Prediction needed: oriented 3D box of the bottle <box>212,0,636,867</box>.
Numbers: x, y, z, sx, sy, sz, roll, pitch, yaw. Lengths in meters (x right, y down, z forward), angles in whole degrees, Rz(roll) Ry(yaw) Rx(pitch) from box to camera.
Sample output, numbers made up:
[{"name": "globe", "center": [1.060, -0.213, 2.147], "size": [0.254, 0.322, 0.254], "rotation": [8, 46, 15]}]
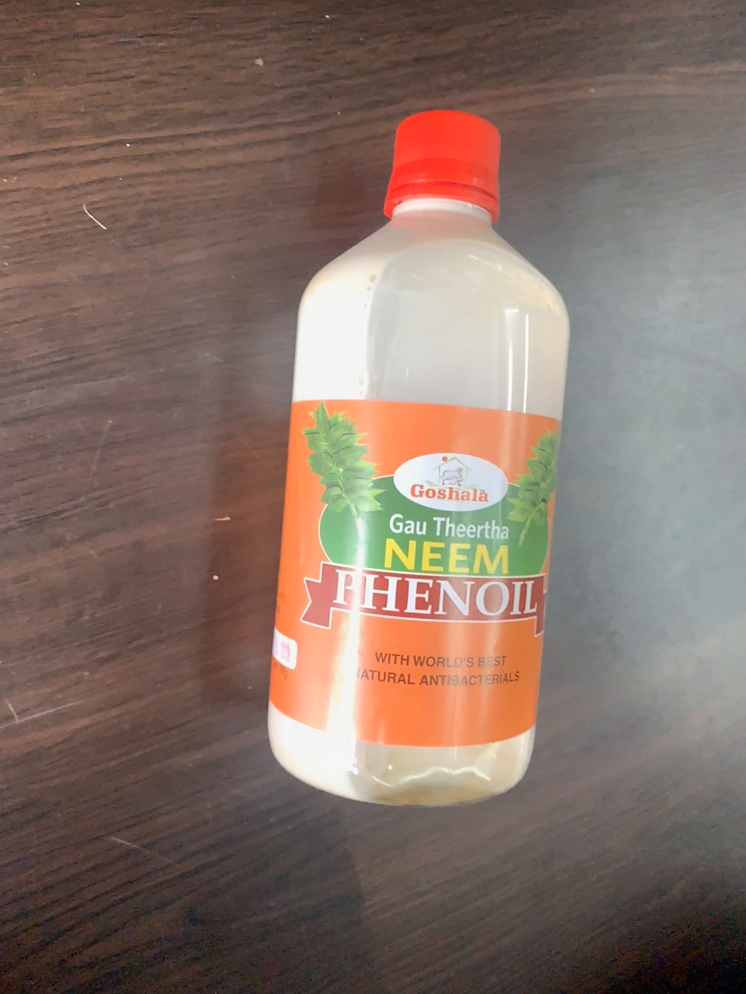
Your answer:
[{"name": "bottle", "center": [0.007, -0.011, 0.216], "size": [0.080, 0.070, 0.190], "rotation": [4, 94, -18]}]
